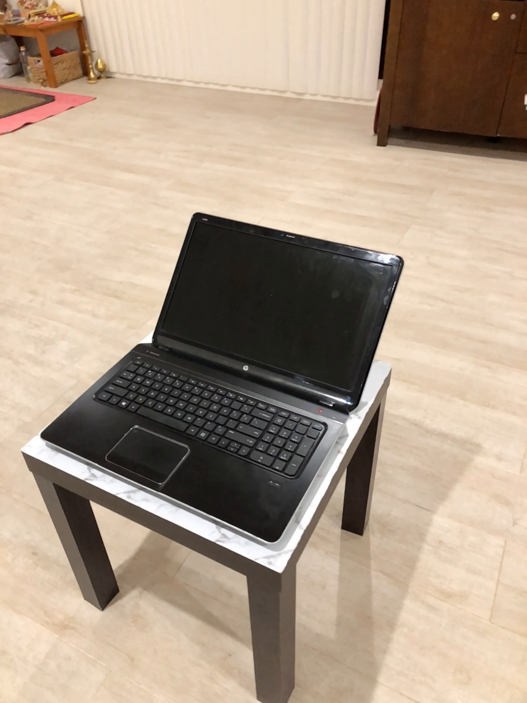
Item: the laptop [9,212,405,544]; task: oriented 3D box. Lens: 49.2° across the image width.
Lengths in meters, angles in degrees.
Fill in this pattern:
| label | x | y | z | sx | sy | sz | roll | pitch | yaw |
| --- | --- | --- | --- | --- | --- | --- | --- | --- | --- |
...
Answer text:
| label | x | y | z | sx | sy | sz | roll | pitch | yaw |
| --- | --- | --- | --- | --- | --- | --- | --- | --- | --- |
| laptop | -0.054 | -0.010 | 0.872 | 0.387 | 0.169 | 0.440 | 18 | 43 | 23 |
